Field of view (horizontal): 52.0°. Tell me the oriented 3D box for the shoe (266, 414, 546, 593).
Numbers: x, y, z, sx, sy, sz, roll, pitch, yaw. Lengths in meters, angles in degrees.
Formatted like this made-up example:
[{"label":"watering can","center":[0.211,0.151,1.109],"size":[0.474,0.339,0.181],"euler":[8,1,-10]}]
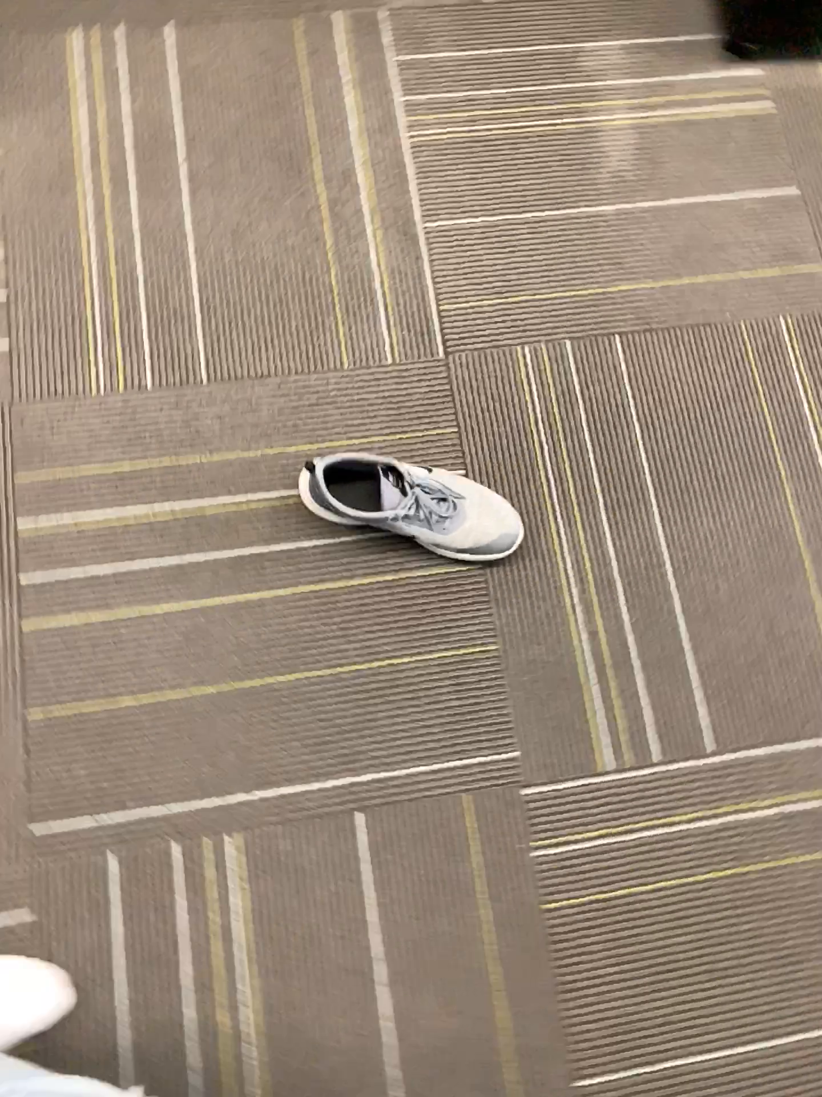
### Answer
[{"label":"shoe","center":[-0.007,-0.054,1.100],"size":[0.330,0.110,0.160],"euler":[9,76,-3]}]
